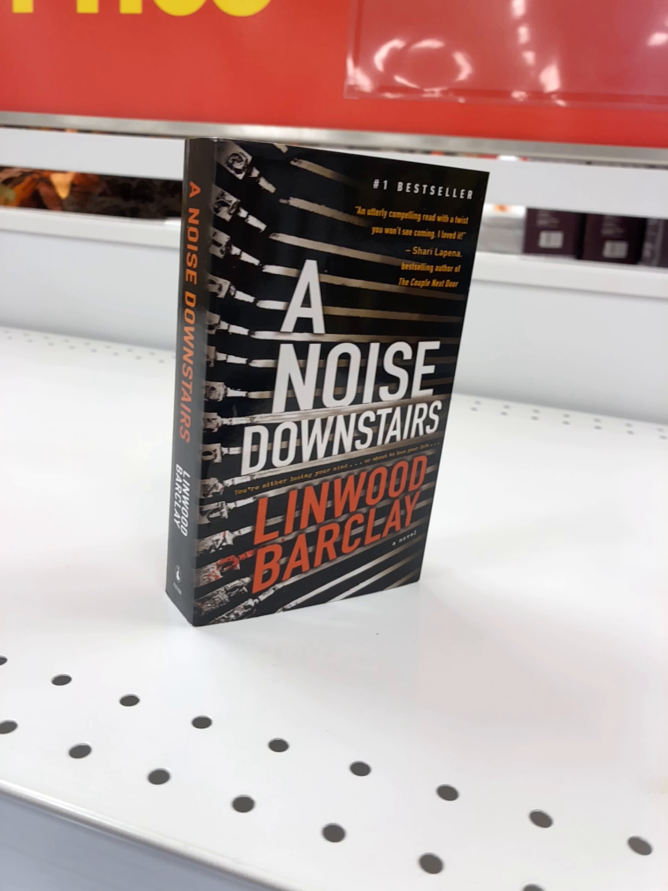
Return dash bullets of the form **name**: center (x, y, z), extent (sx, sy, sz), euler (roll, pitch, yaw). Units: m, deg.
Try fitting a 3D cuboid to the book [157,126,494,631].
- **book**: center (-0.008, -0.024, 0.287), extent (0.110, 0.170, 0.041), euler (-5, 21, -27)
